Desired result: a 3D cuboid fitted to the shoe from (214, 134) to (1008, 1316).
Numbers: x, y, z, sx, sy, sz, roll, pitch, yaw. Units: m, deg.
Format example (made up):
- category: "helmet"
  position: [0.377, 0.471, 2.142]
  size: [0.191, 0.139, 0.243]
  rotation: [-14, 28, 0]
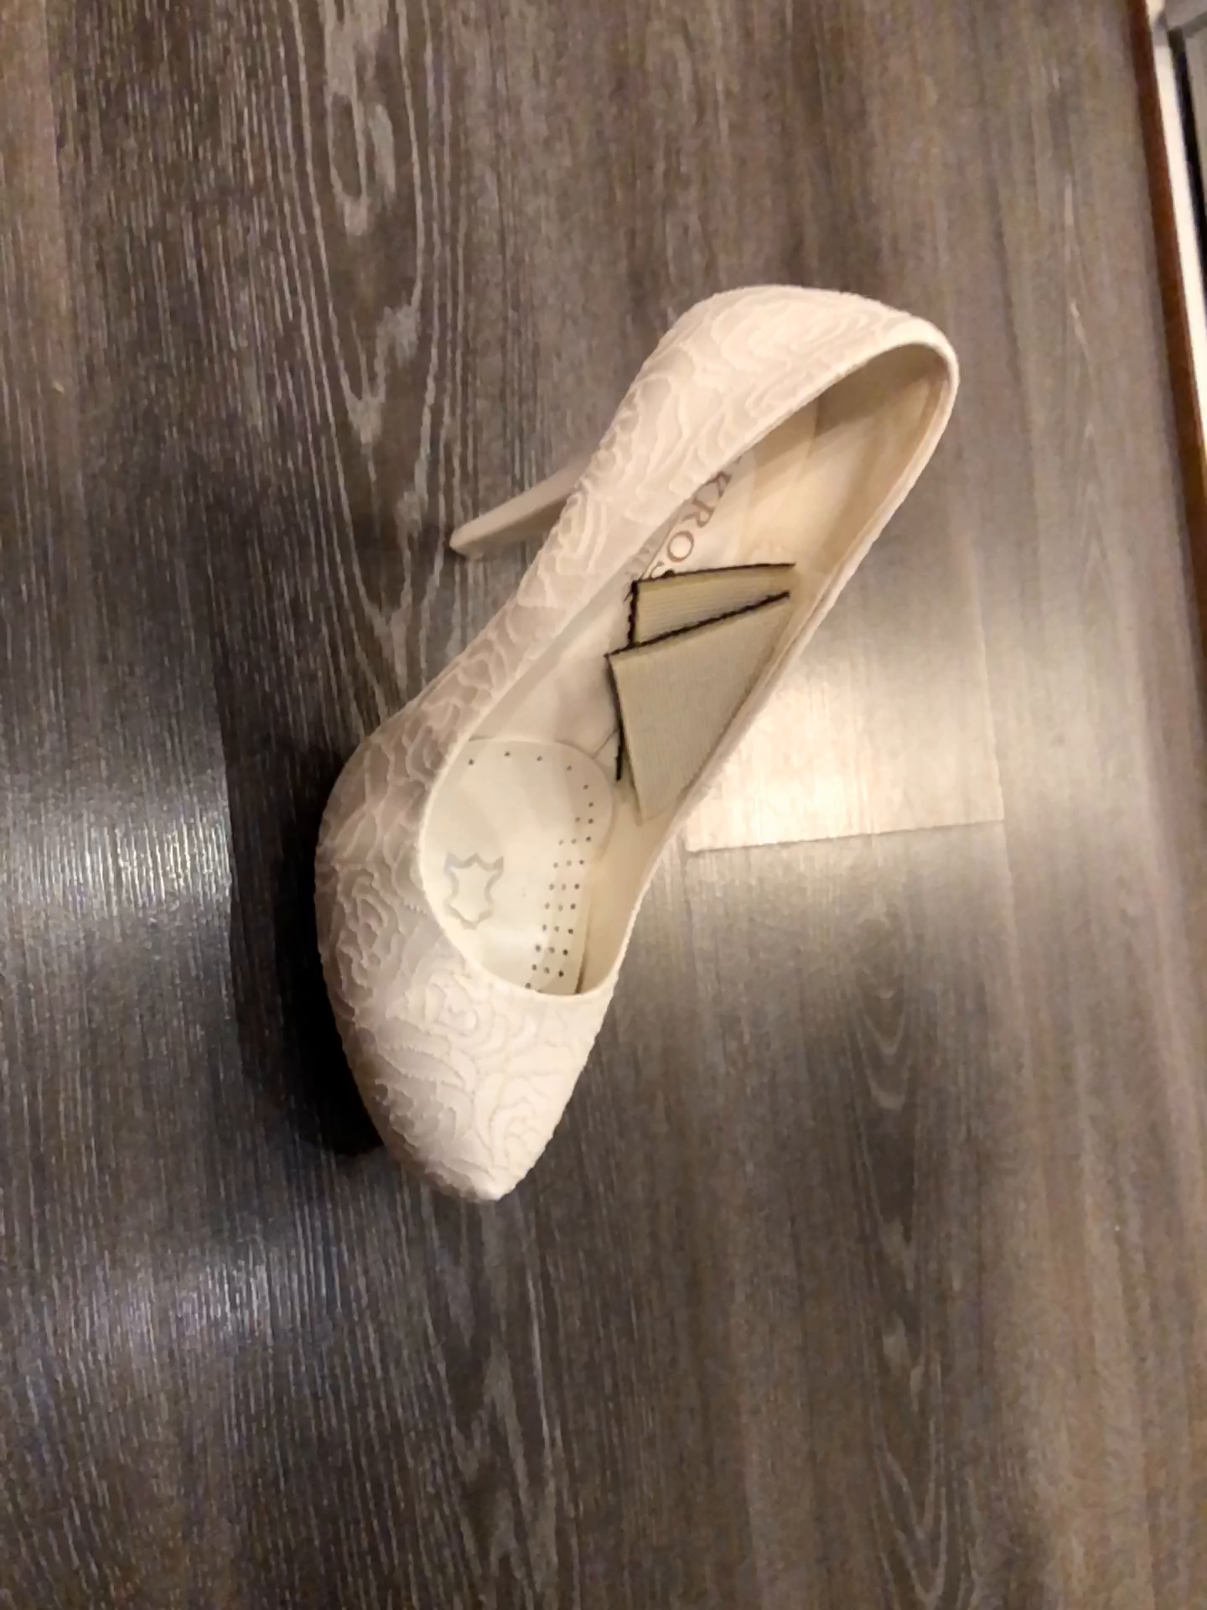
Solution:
- category: "shoe"
  position: [0.000, -0.007, 0.314]
  size: [0.090, 0.149, 0.210]
  rotation: [15, 75, -38]
